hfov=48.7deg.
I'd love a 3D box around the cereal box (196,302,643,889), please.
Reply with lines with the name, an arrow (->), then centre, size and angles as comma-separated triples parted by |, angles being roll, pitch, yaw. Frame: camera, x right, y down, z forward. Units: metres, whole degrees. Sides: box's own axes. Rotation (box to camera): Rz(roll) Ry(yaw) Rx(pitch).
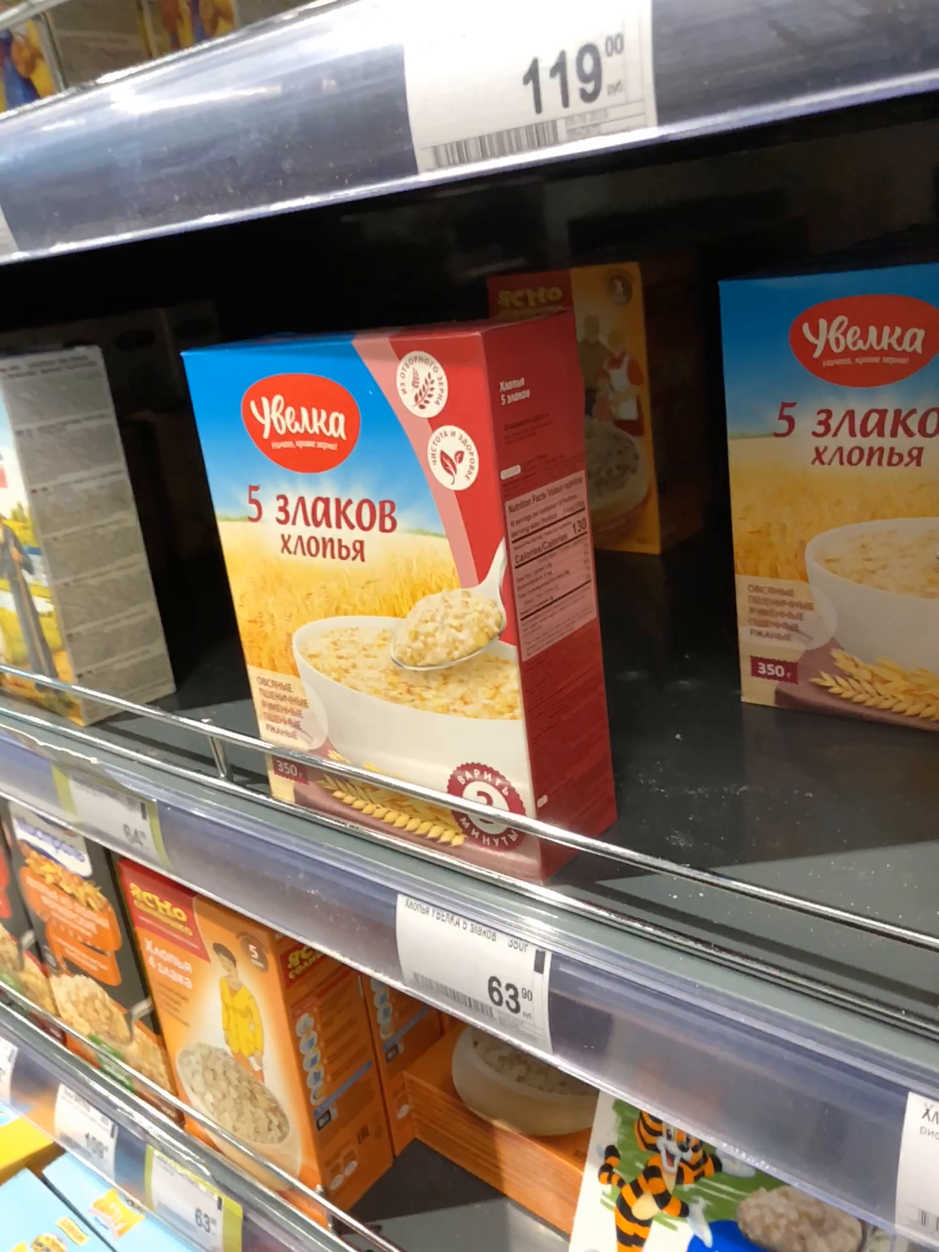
cereal box -> -0.019, -0.016, 0.391 | 0.150, 0.189, 0.050 | 9, 24, 38
